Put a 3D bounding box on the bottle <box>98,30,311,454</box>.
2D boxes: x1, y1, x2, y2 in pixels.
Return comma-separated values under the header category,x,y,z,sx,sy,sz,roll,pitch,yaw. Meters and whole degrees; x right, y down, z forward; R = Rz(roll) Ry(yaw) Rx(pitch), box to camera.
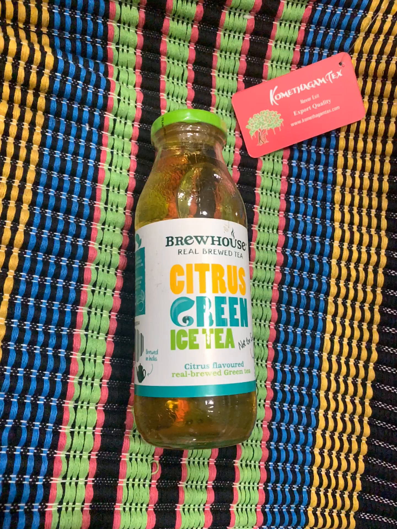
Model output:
category,x,y,z,sx,sy,sz,roll,pitch,yaw
bottle,-0.004,-0.010,0.224,0.080,0.070,0.190,5,74,-26
